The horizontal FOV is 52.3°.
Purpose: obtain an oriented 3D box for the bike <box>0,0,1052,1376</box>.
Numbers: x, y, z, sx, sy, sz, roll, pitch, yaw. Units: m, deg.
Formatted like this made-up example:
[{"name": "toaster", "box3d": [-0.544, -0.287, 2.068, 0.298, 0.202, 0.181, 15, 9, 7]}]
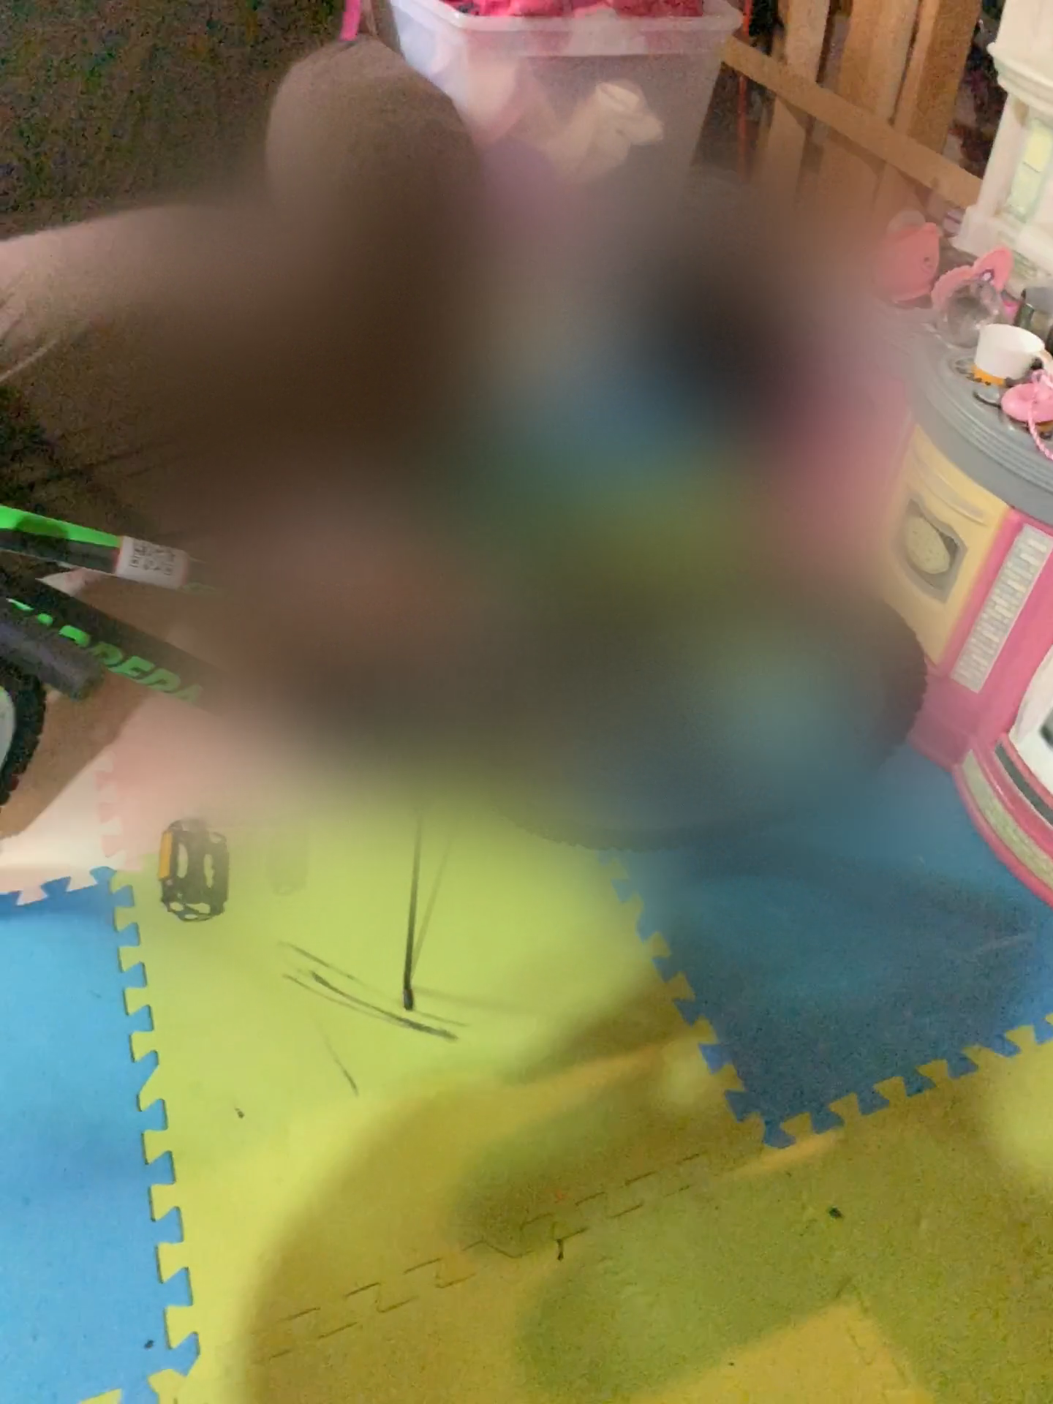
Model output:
[{"name": "bike", "box3d": [-0.224, -0.014, 0.952, 1.269, 0.841, 0.536, -12, 46, -10]}]
